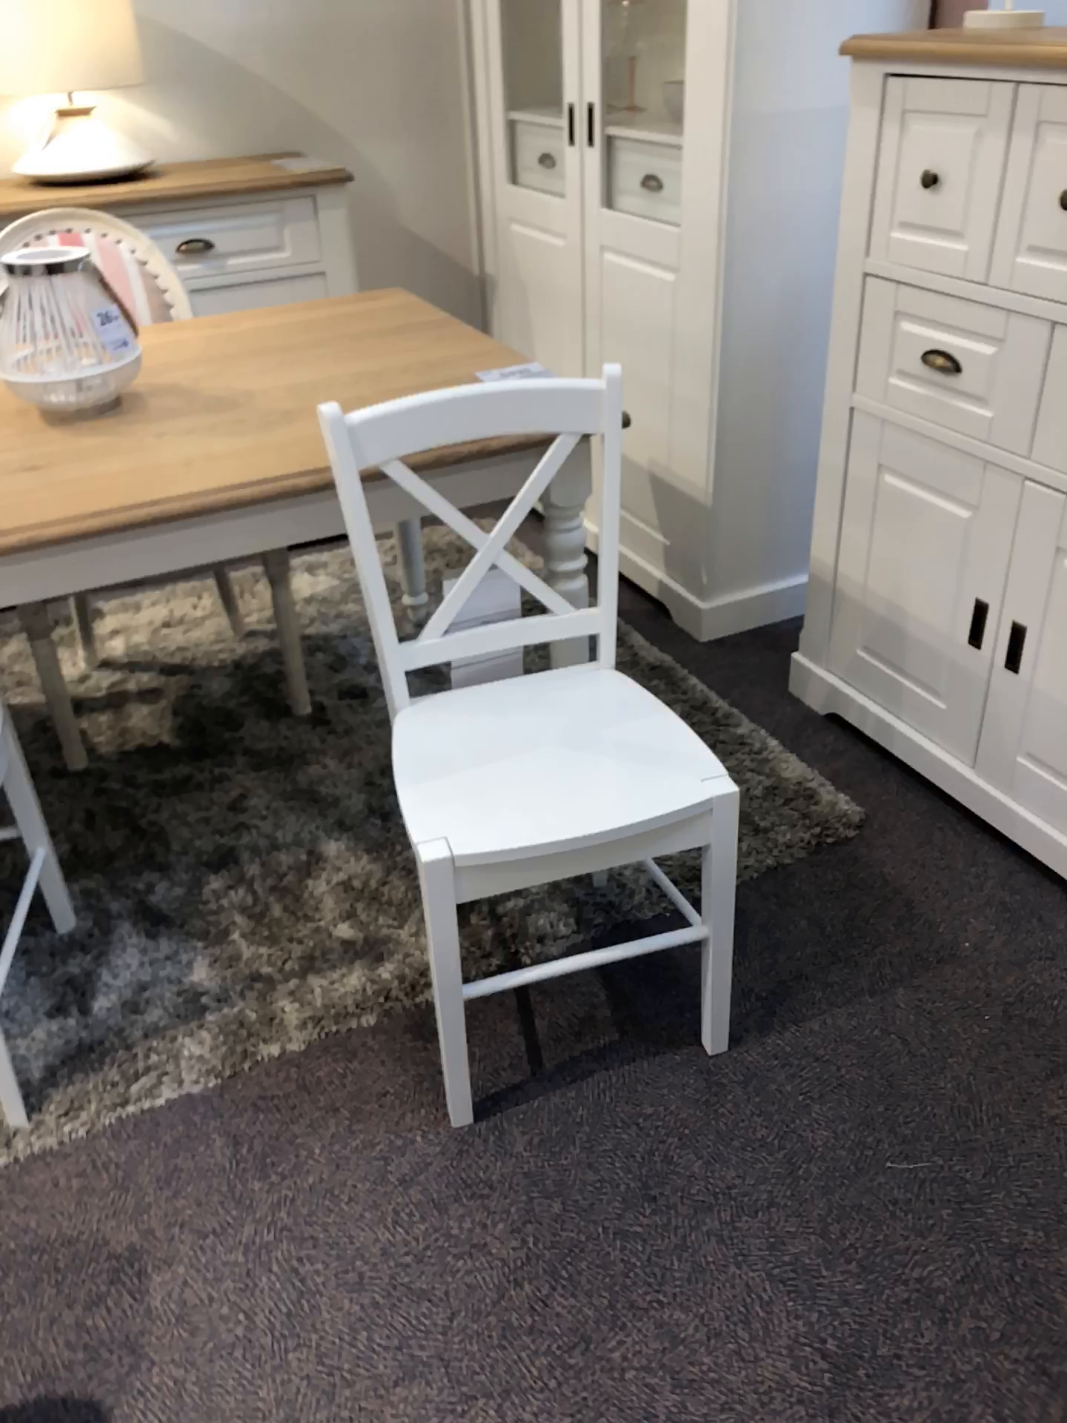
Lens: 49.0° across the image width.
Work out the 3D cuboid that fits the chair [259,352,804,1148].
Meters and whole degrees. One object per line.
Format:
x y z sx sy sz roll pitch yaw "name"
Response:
-0.013 0.032 1.463 0.461 0.785 0.462 -13 32 -15 "chair"
